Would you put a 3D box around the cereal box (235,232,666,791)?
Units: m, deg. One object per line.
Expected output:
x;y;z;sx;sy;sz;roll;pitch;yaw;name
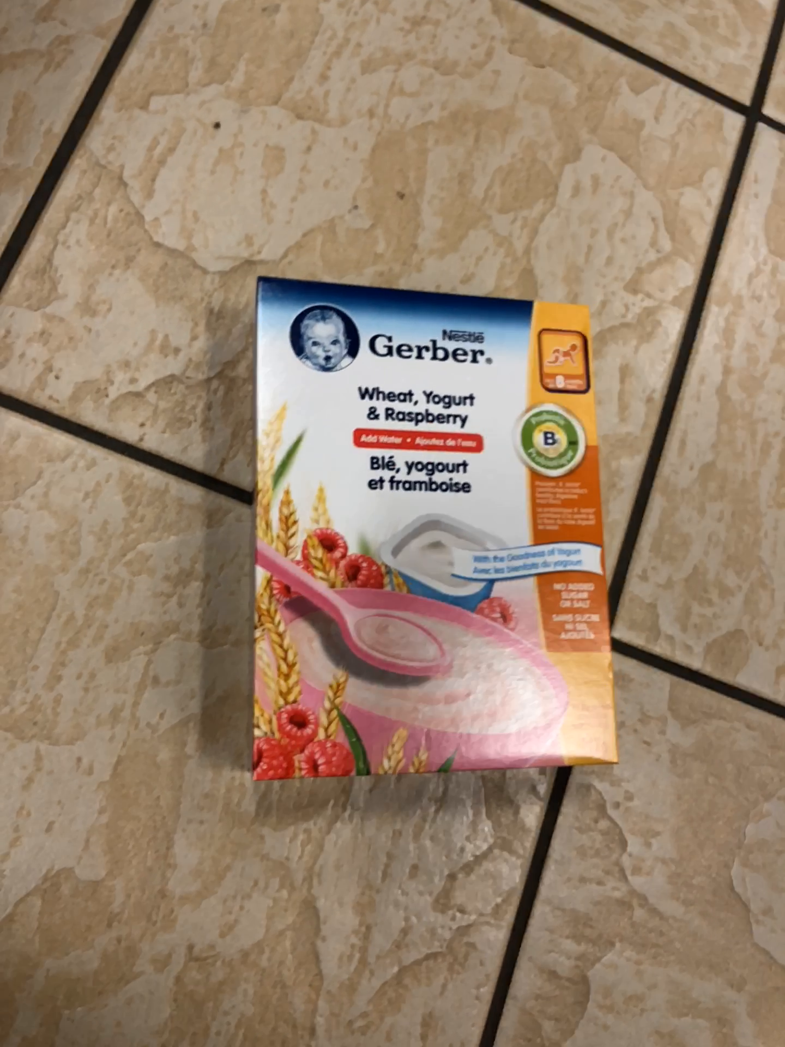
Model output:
0.019;-0.004;0.363;0.160;0.050;0.210;2;78;-12;cereal box
